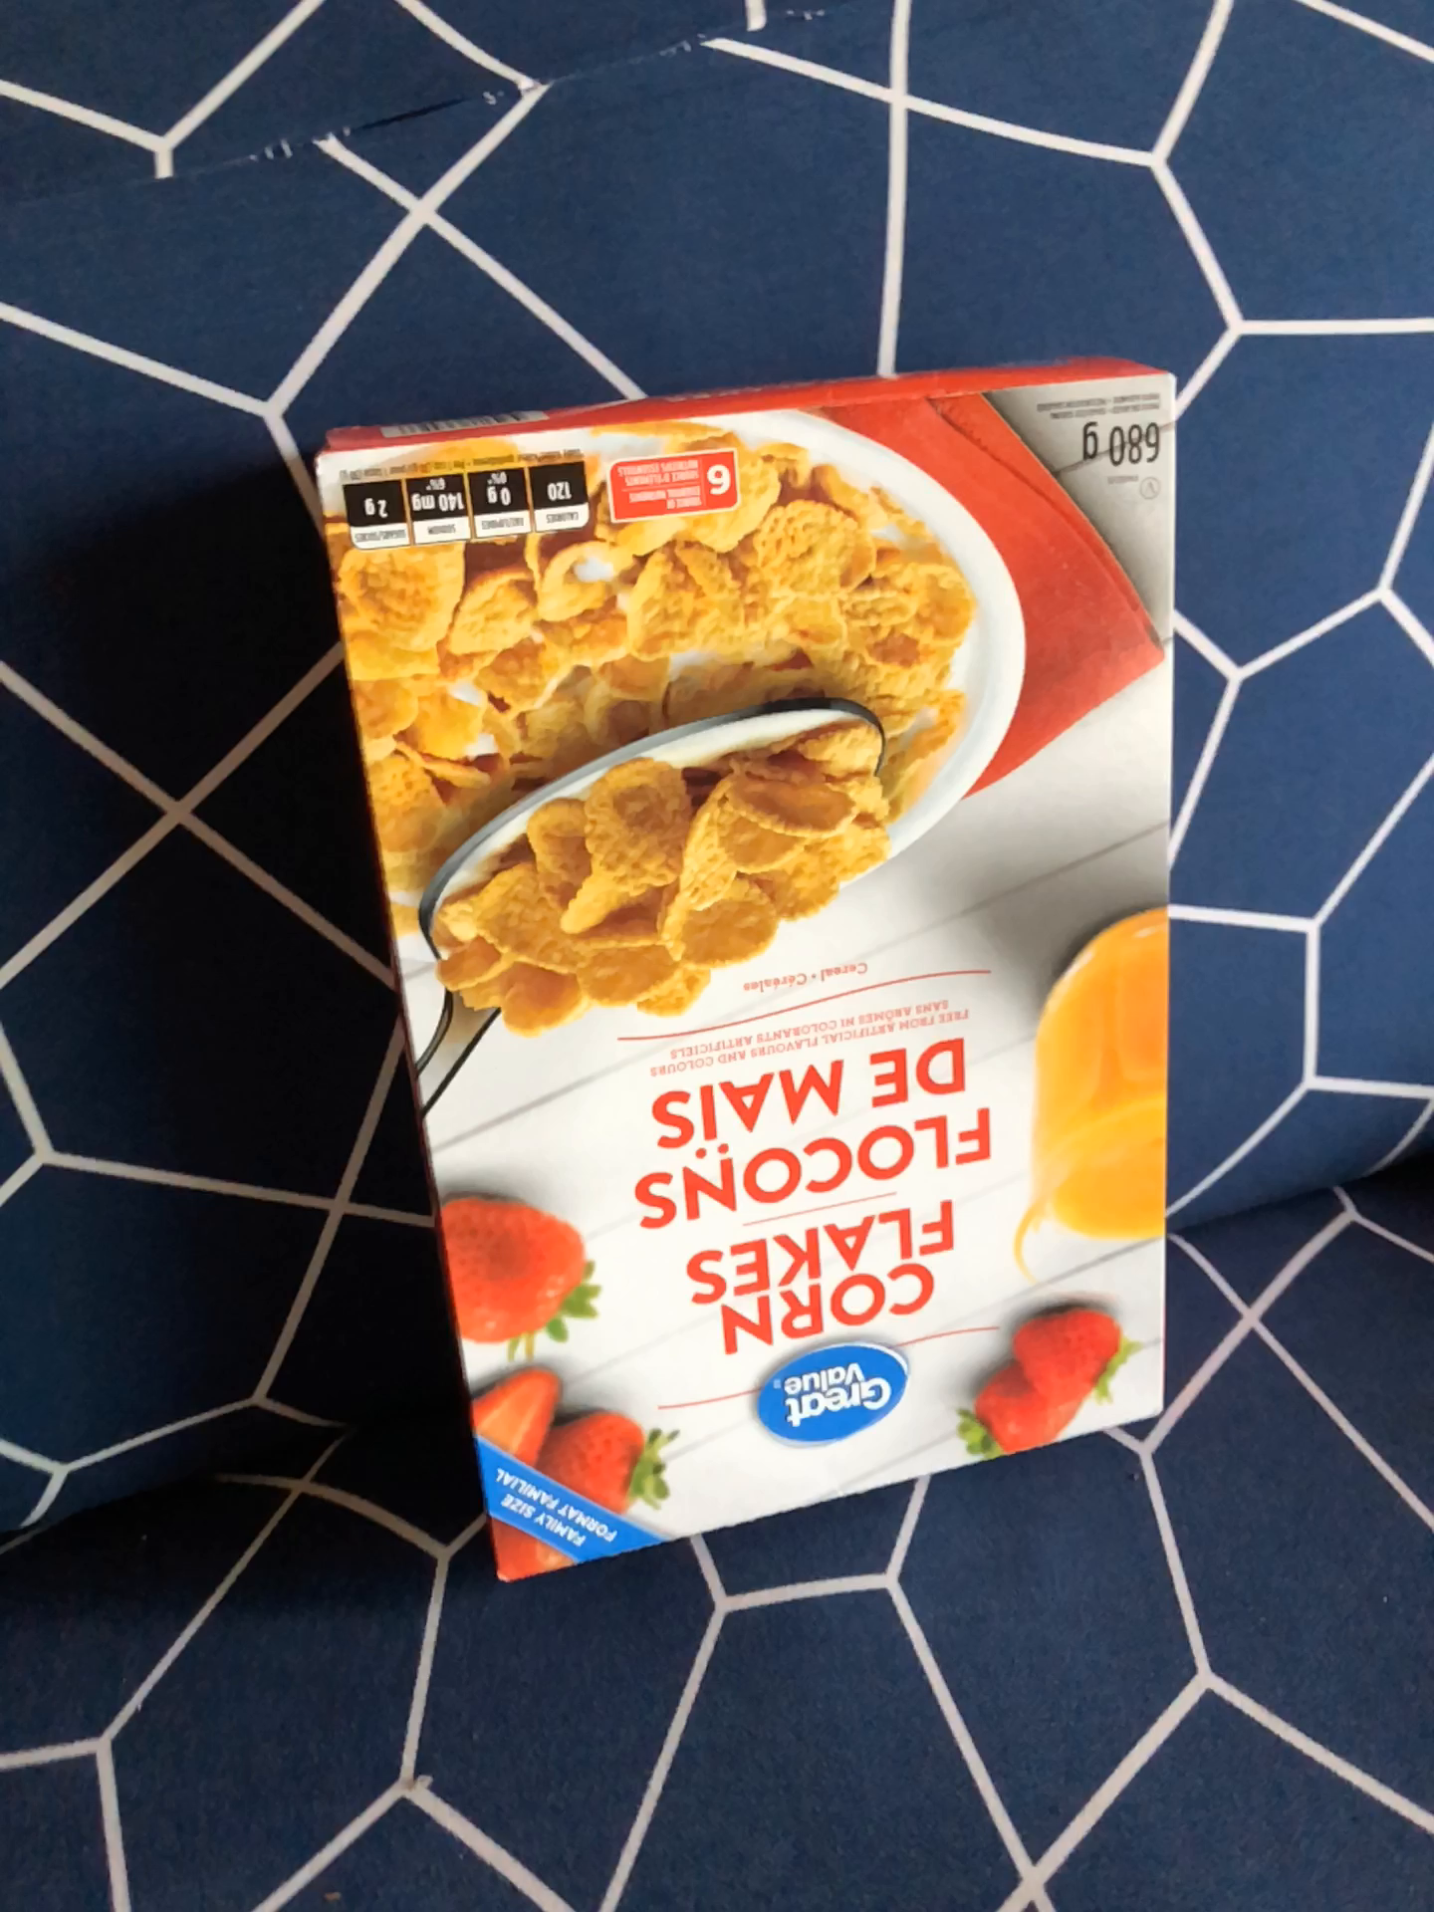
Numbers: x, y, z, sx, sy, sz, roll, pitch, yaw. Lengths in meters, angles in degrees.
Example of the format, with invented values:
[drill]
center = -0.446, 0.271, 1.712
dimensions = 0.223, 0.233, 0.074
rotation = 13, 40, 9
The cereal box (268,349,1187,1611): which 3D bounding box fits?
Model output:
[cereal box]
center = 0.012, 0.003, 0.469
dimensions = 0.220, 0.319, 0.100
rotation = -10, 19, -10
